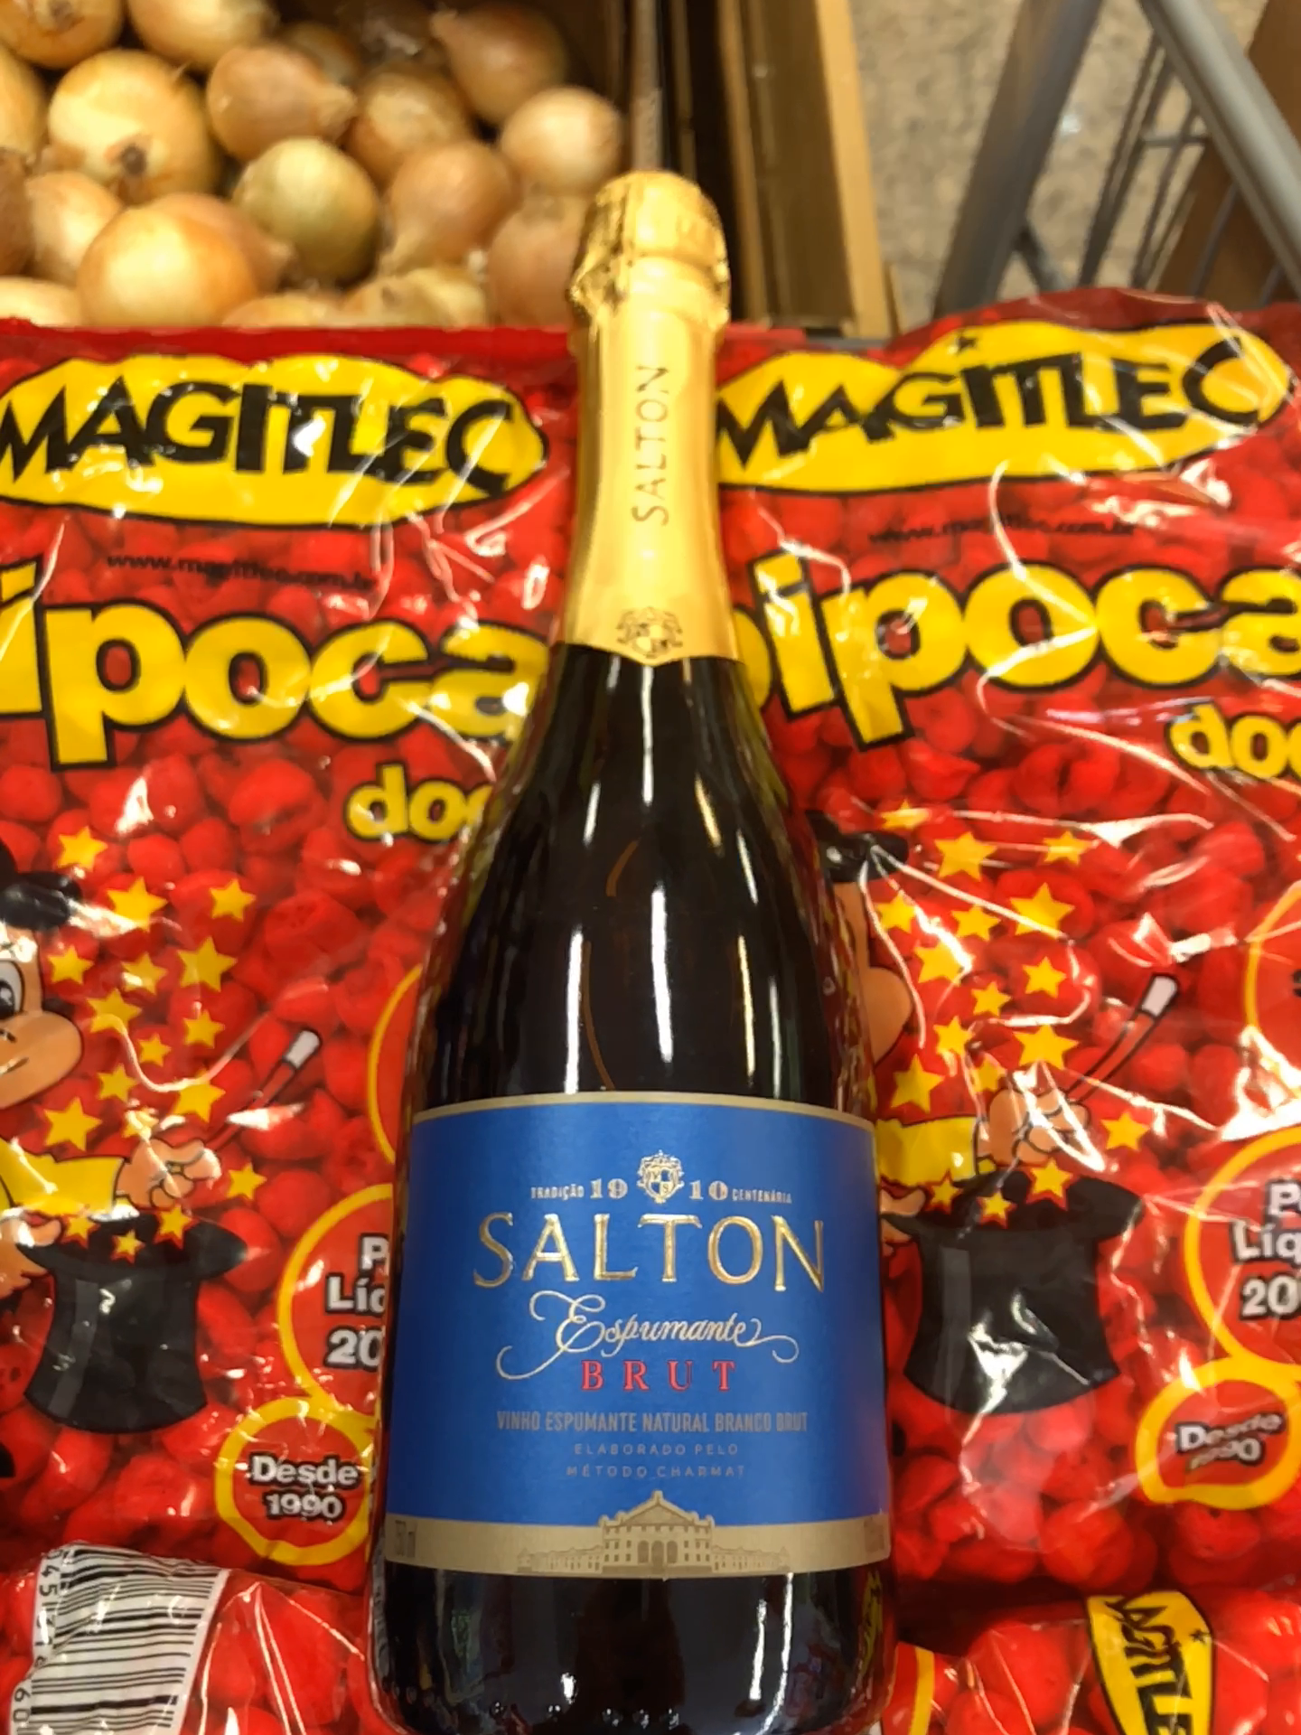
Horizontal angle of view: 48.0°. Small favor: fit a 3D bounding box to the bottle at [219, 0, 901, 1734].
[{"bbox_3d":[-0.016,-0.010,0.276,0.090,0.080,0.311,0,74,-3],"label":"bottle"}]
